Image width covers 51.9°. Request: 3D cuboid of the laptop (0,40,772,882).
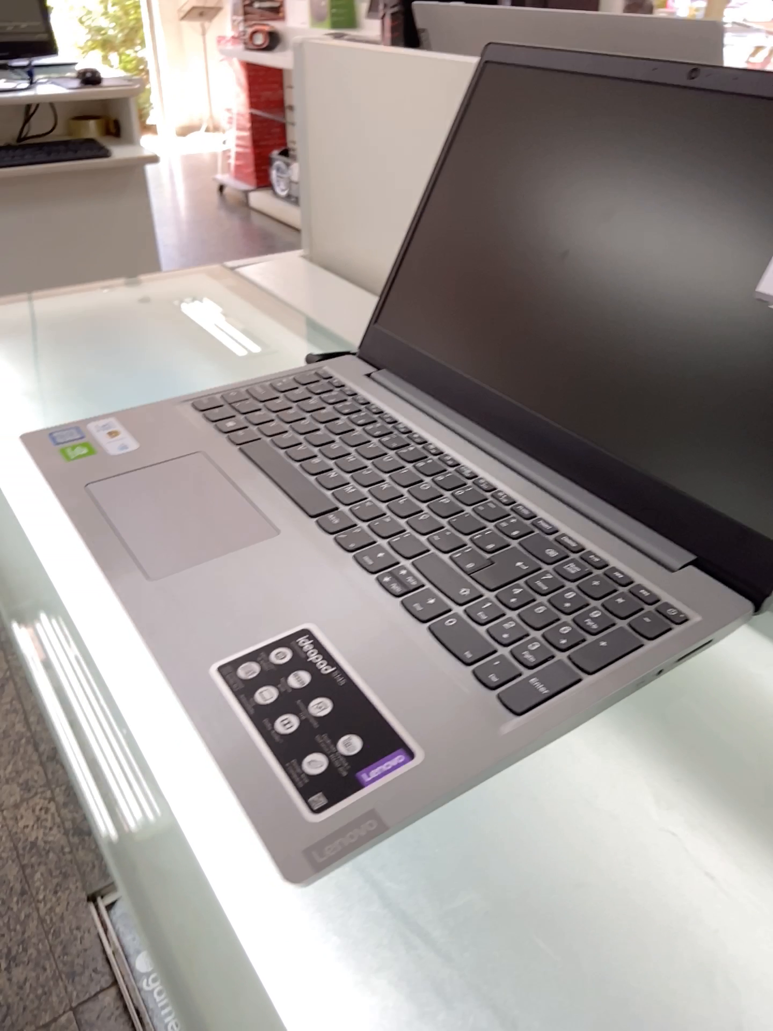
[{"bbox_3d":[0.020,-0.110,0.410,0.366,0.201,0.361,-21,40,-28],"label":"laptop"}]
